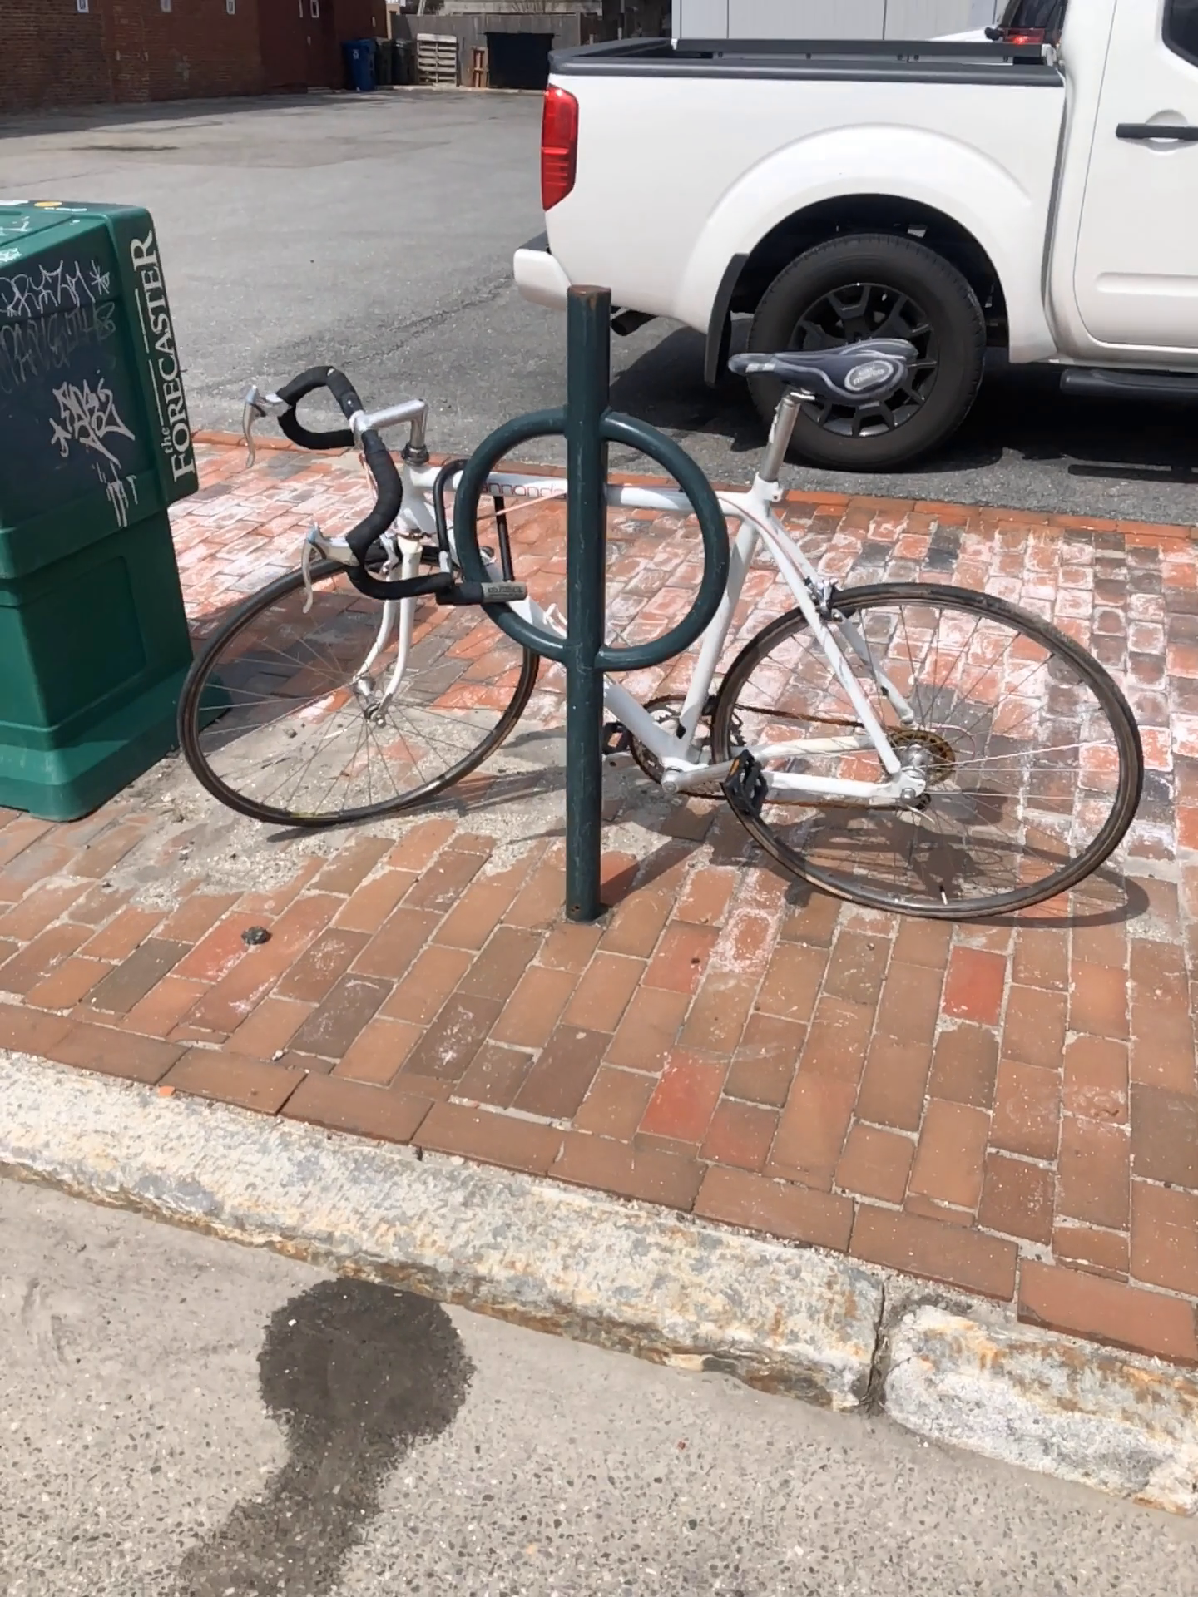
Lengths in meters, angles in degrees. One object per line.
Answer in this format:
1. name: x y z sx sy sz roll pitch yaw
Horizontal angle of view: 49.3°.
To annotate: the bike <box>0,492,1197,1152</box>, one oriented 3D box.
1. bike: 0.019 0.012 1.666 1.273 0.650 0.467 2 30 9
